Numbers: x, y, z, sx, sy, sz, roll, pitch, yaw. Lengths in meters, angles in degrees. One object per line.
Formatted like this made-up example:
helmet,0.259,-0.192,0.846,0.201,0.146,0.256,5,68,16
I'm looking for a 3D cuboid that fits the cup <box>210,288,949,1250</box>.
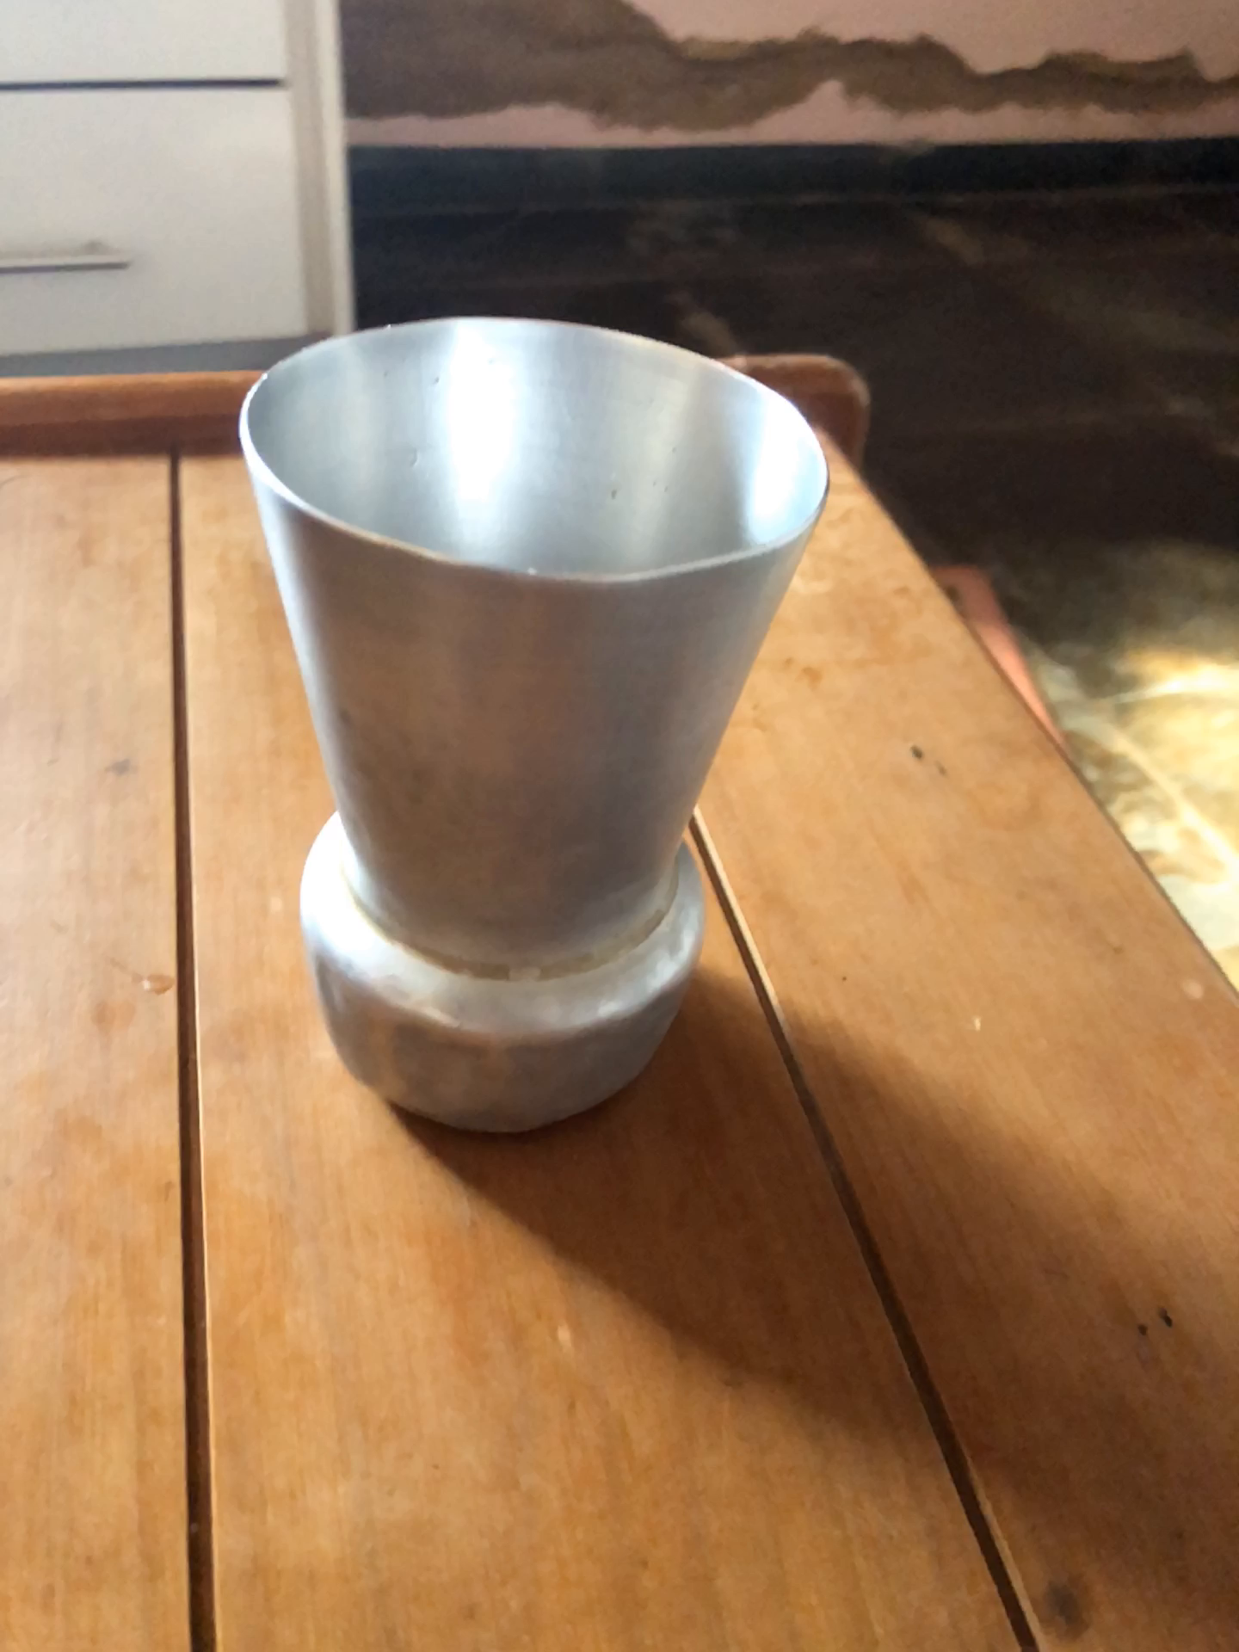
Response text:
cup,-0.013,-0.008,0.197,0.070,0.109,0.070,4,41,-3
